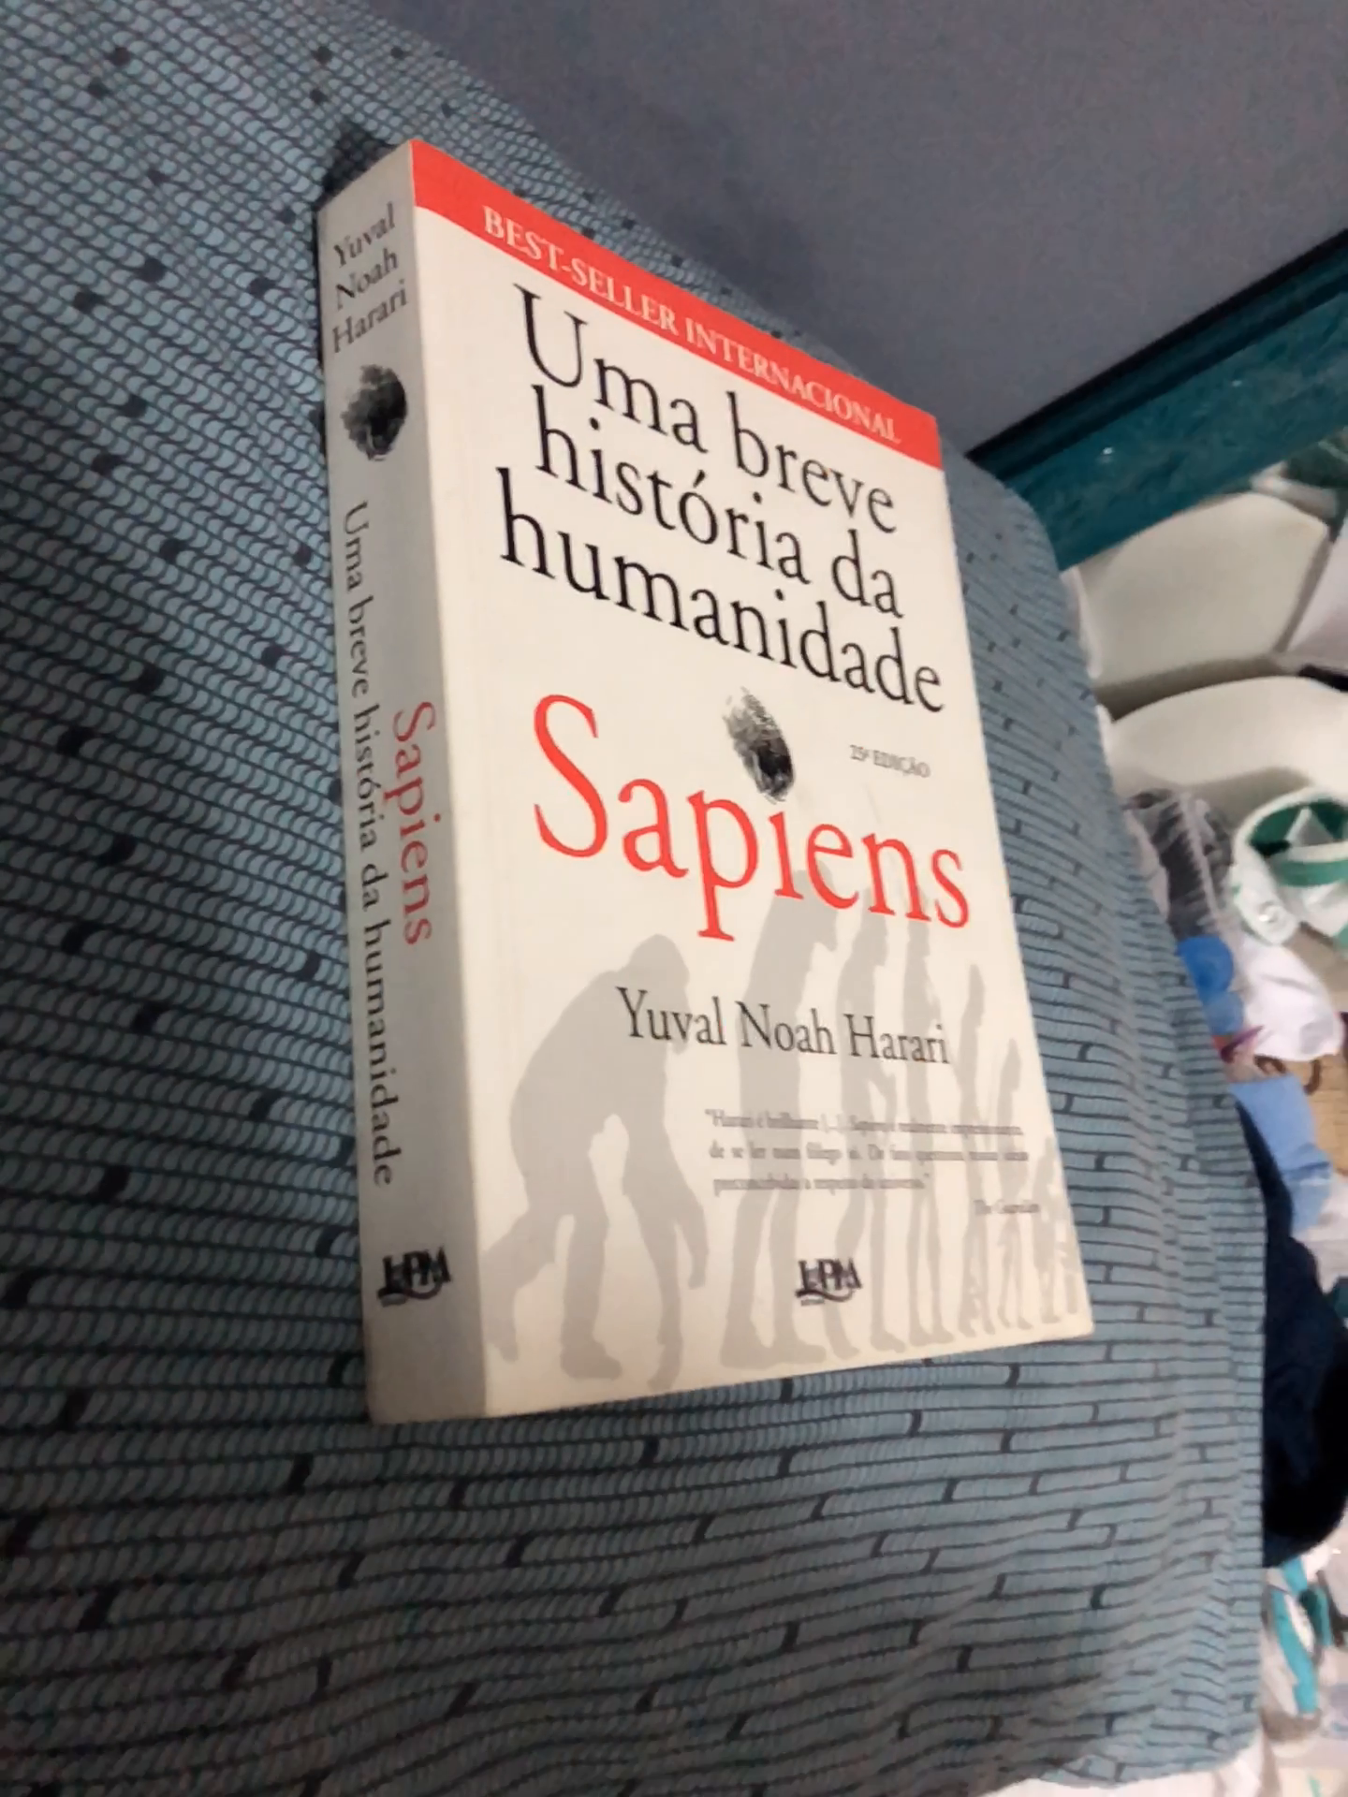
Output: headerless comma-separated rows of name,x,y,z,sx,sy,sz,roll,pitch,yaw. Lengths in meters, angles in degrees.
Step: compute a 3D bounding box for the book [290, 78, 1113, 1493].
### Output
book,0.008,-0.019,0.306,0.161,0.040,0.240,10,66,-44
